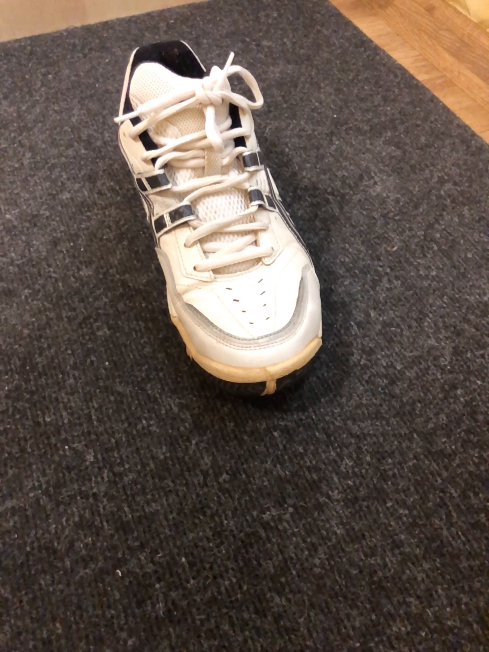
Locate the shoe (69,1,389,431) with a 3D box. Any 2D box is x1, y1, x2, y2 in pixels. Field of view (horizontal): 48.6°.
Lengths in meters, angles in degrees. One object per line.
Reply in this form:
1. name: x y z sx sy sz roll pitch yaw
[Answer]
1. shoe: -0.029 -0.091 0.348 0.100 0.100 0.281 -16 54 -11
